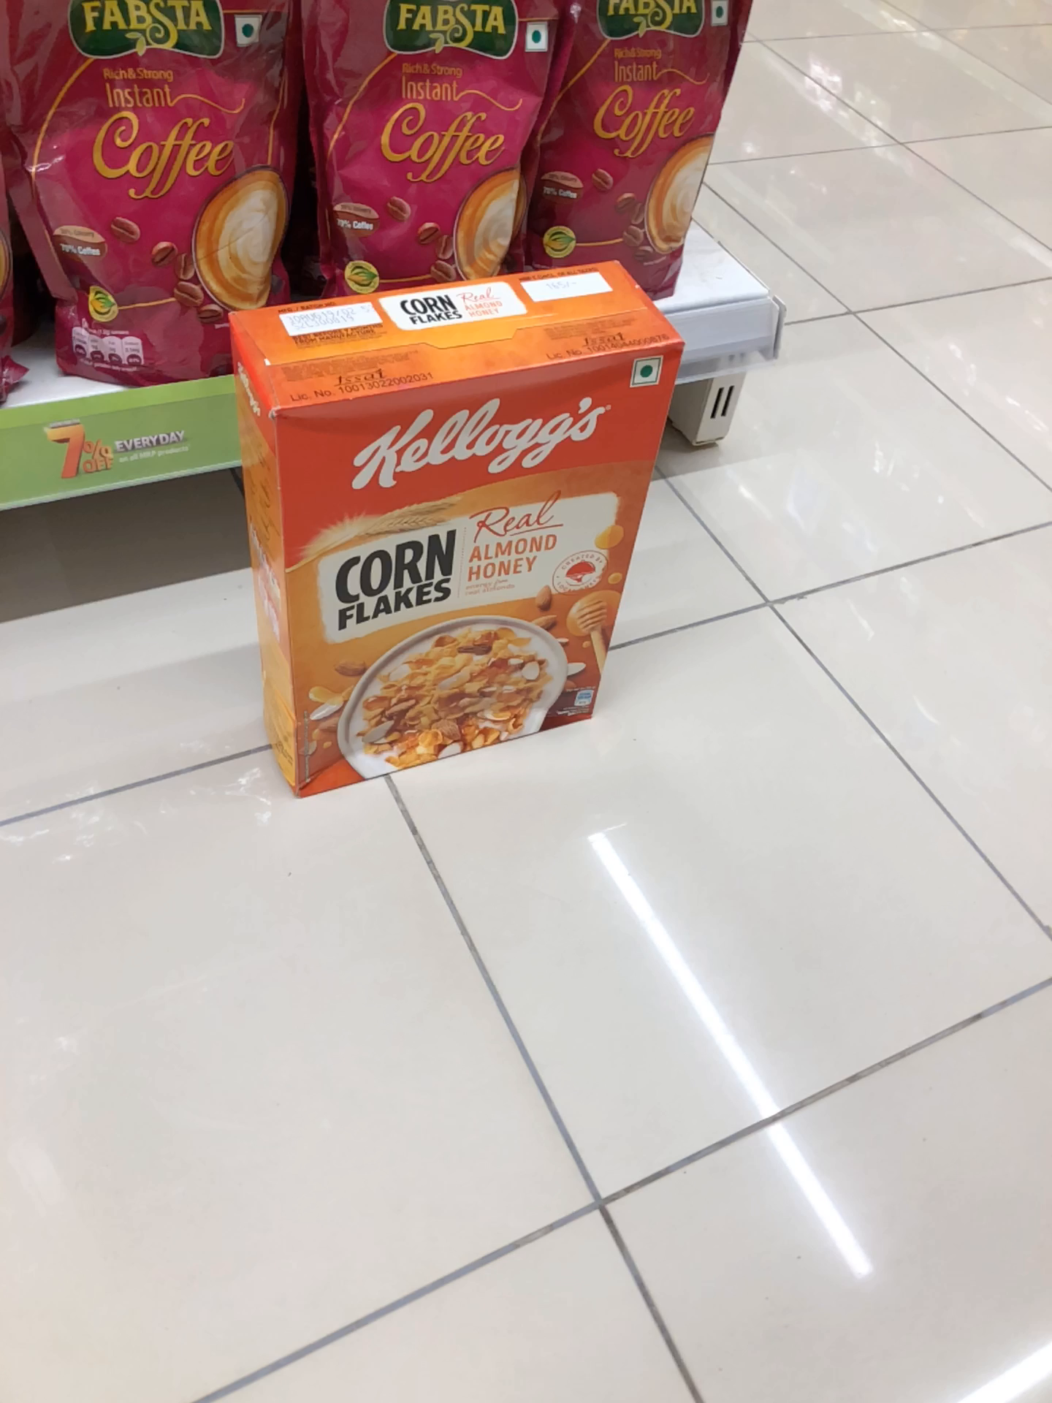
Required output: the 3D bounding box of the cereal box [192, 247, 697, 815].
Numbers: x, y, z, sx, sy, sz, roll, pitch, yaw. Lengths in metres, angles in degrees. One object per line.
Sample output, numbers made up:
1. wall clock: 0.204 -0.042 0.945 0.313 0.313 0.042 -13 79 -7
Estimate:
1. cereal box: -0.047 -0.077 0.593 0.201 0.268 0.080 -13 52 -19
